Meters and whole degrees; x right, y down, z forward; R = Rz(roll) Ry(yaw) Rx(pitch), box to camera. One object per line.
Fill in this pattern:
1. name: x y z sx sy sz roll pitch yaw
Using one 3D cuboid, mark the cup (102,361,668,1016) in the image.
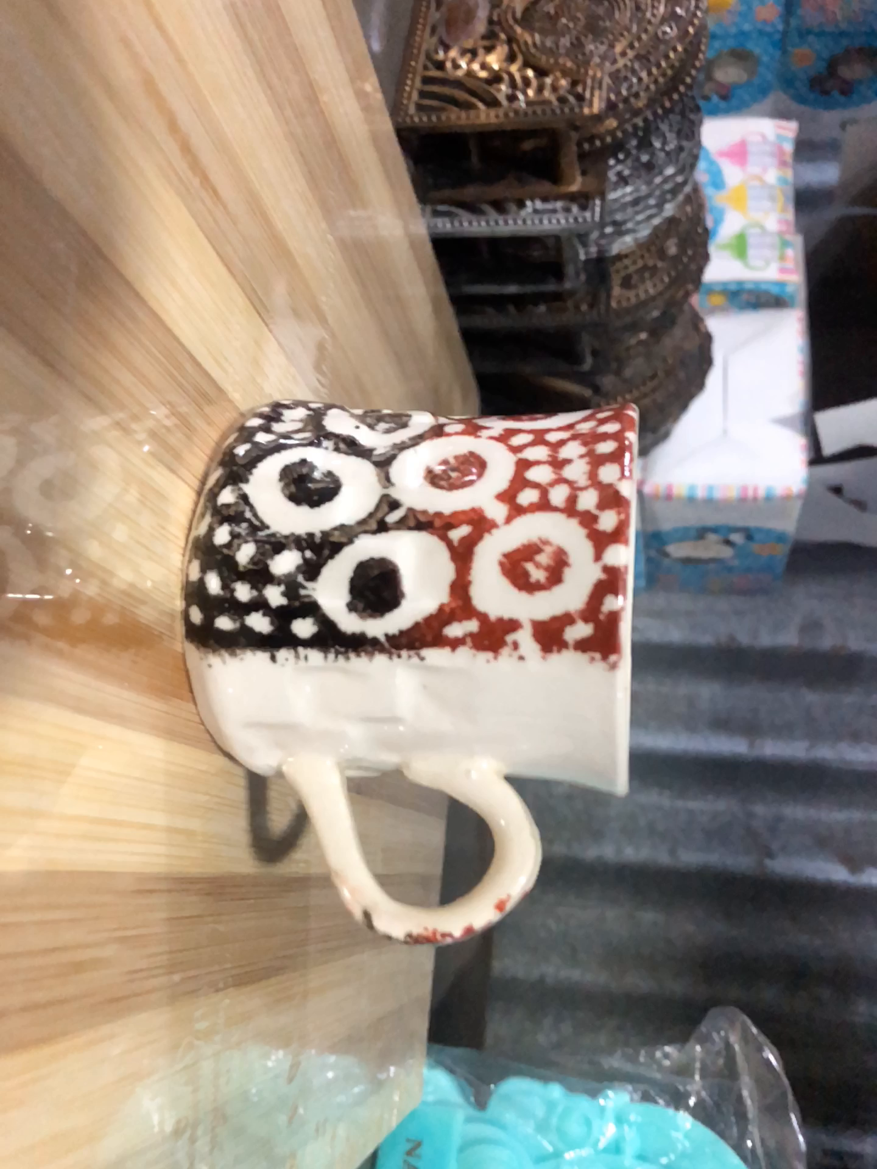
1. cup: 0.000 0.018 0.166 0.060 0.070 0.090 66 28 -68
